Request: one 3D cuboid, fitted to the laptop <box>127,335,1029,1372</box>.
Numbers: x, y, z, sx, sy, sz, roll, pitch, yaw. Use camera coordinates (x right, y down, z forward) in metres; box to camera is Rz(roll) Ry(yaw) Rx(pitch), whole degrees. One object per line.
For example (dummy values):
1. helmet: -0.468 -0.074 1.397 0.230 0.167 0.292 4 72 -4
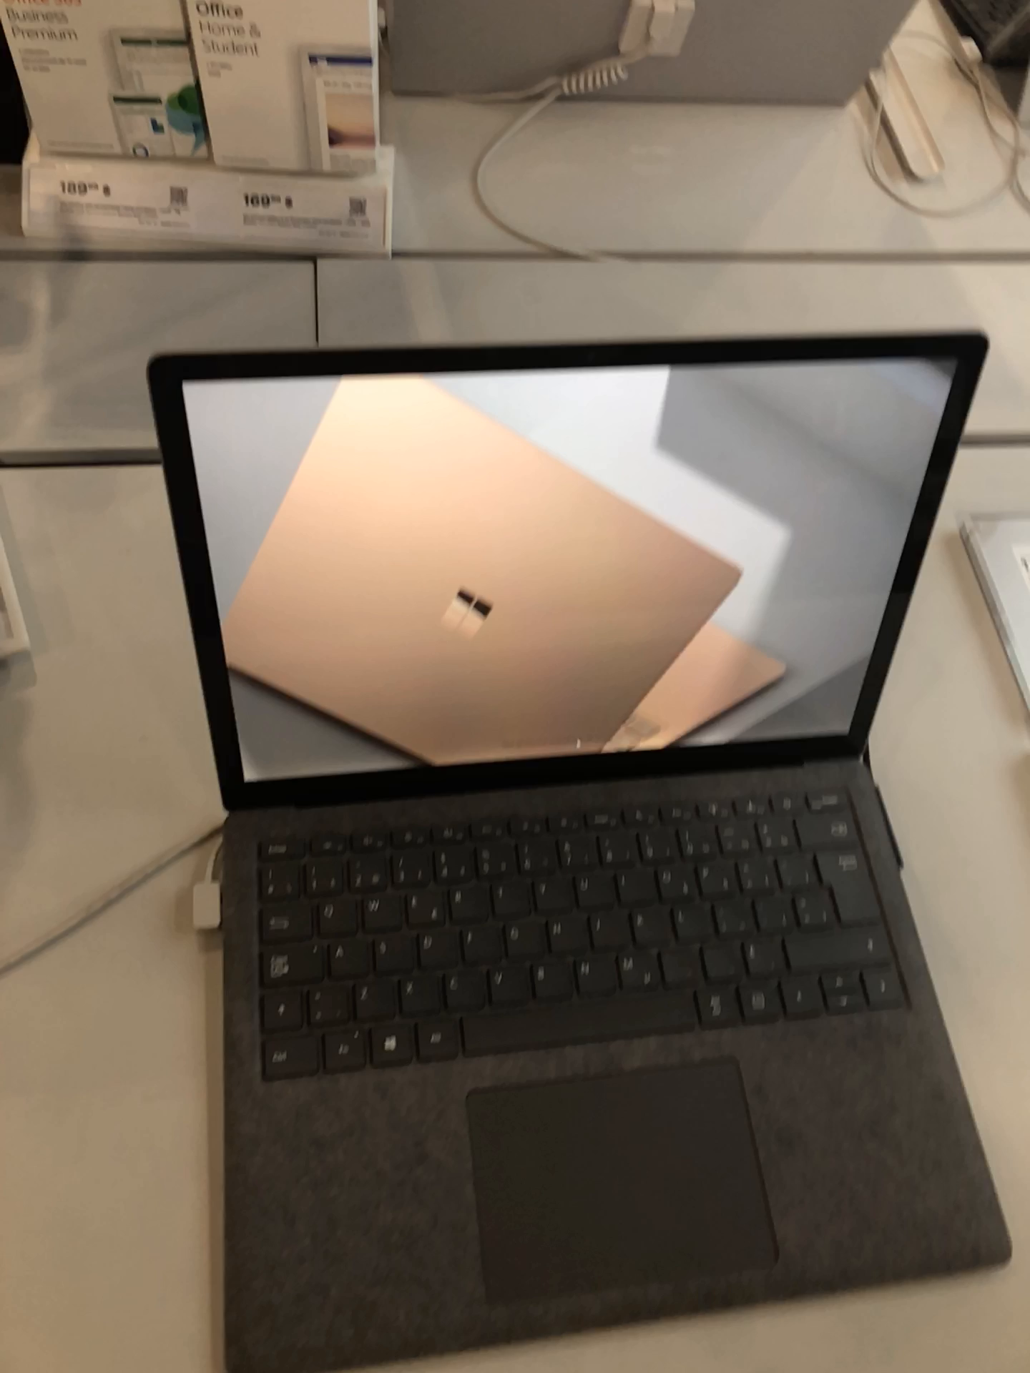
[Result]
1. laptop: 0.037 0.057 0.415 0.297 0.197 0.295 -4 61 -9
